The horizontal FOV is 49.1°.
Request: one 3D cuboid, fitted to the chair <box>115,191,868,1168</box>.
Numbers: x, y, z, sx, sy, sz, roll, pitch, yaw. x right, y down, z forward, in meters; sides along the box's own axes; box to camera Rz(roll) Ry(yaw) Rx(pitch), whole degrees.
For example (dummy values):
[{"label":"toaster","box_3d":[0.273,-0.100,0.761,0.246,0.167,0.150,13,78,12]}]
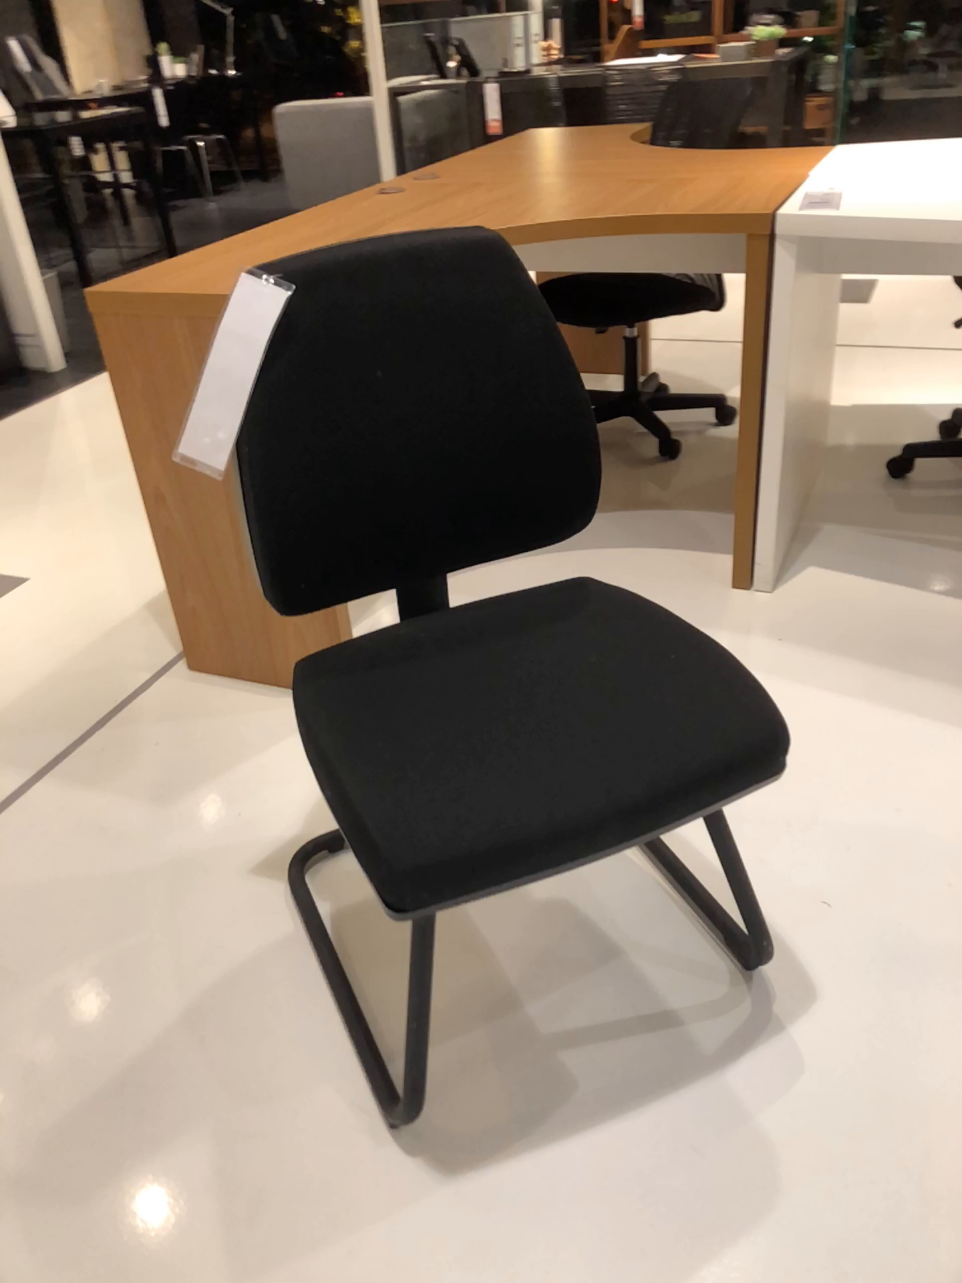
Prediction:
[{"label":"chair","box_3d":[-0.001,0.002,1.251,0.551,0.874,0.563,-17,33,-19]}]
